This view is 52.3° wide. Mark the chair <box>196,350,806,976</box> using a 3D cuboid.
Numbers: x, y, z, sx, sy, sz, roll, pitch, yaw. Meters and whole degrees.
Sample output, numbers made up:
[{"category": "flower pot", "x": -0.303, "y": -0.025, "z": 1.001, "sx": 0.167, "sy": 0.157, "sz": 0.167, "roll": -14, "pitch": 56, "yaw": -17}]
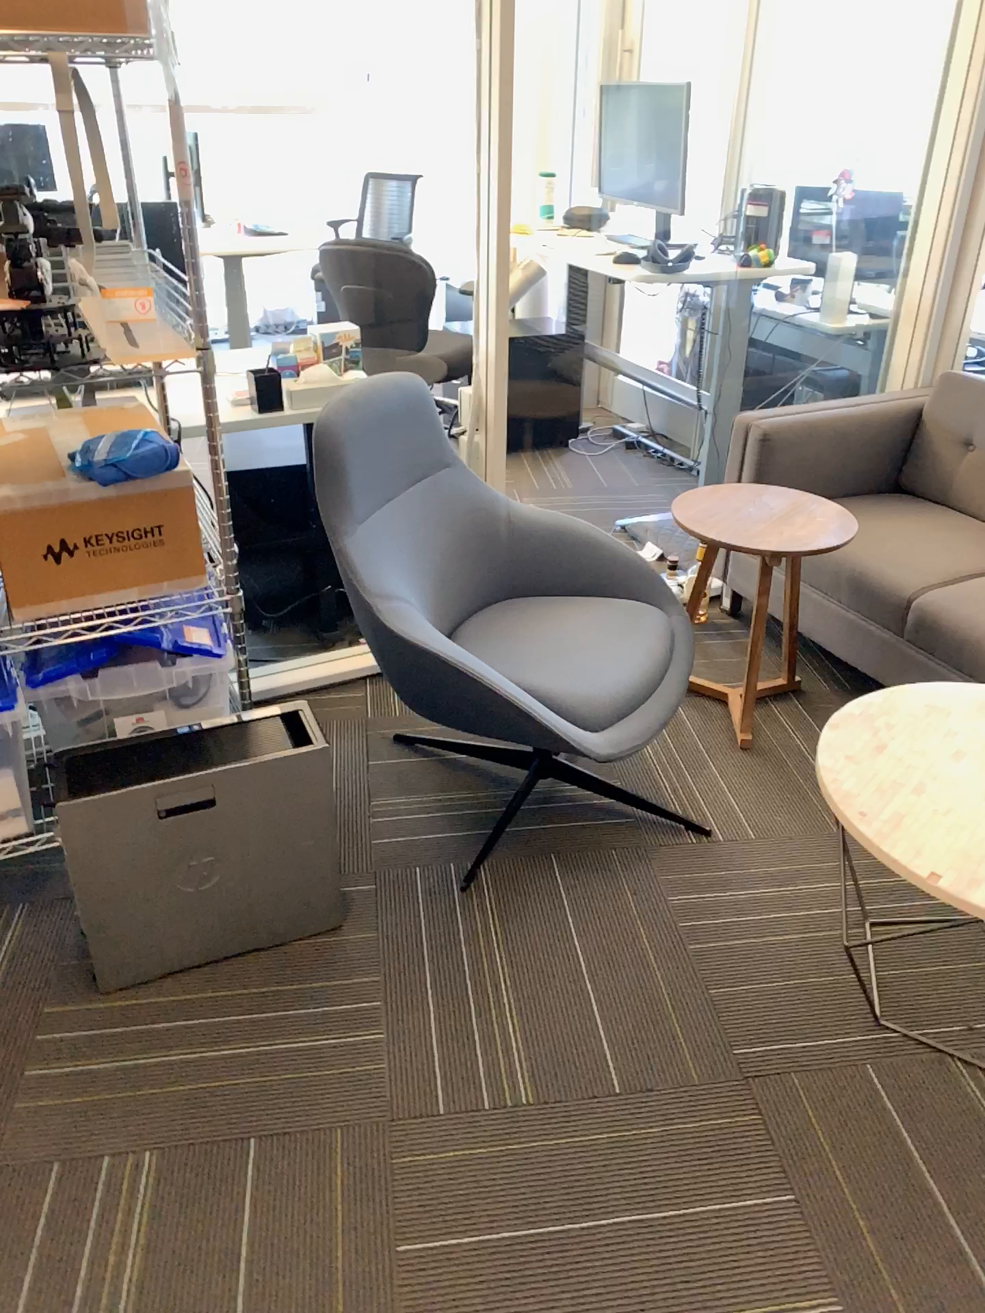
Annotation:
[{"category": "chair", "x": 0.050, "y": -0.076, "z": 2.320, "sx": 1.002, "sy": 0.964, "sz": 0.843, "roll": 15, "pitch": 32, "yaw": 23}]
